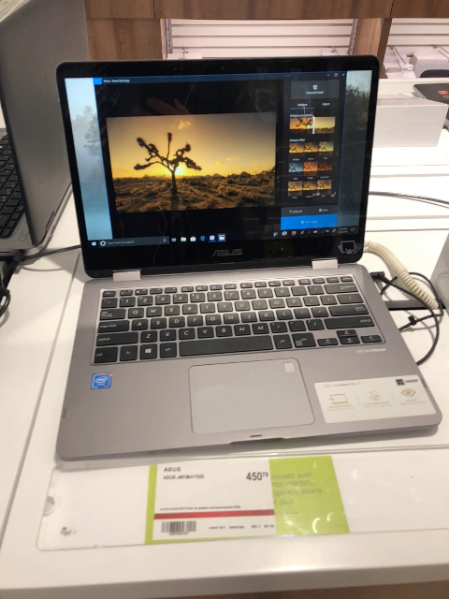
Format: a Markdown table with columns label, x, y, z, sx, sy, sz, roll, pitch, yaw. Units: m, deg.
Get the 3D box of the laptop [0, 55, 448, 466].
| label | x | y | z | sx | sy | sz | roll | pitch | yaw |
| --- | --- | --- | --- | --- | --- | --- | --- | --- | --- |
| laptop | 0.014 | -0.059 | 0.441 | 0.319 | 0.211 | 0.291 | -5 | 42 | -6 |
